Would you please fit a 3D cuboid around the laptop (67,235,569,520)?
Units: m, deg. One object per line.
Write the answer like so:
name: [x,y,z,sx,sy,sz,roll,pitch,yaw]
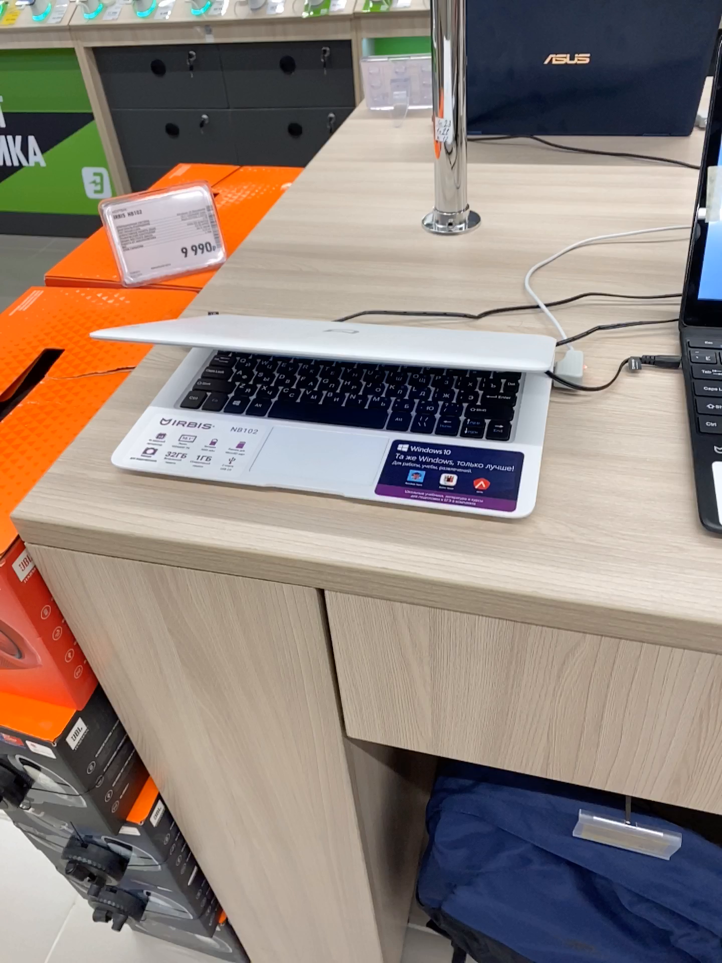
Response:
laptop: [-0.015,-0.083,0.492,0.280,0.078,0.179,7,44,15]
